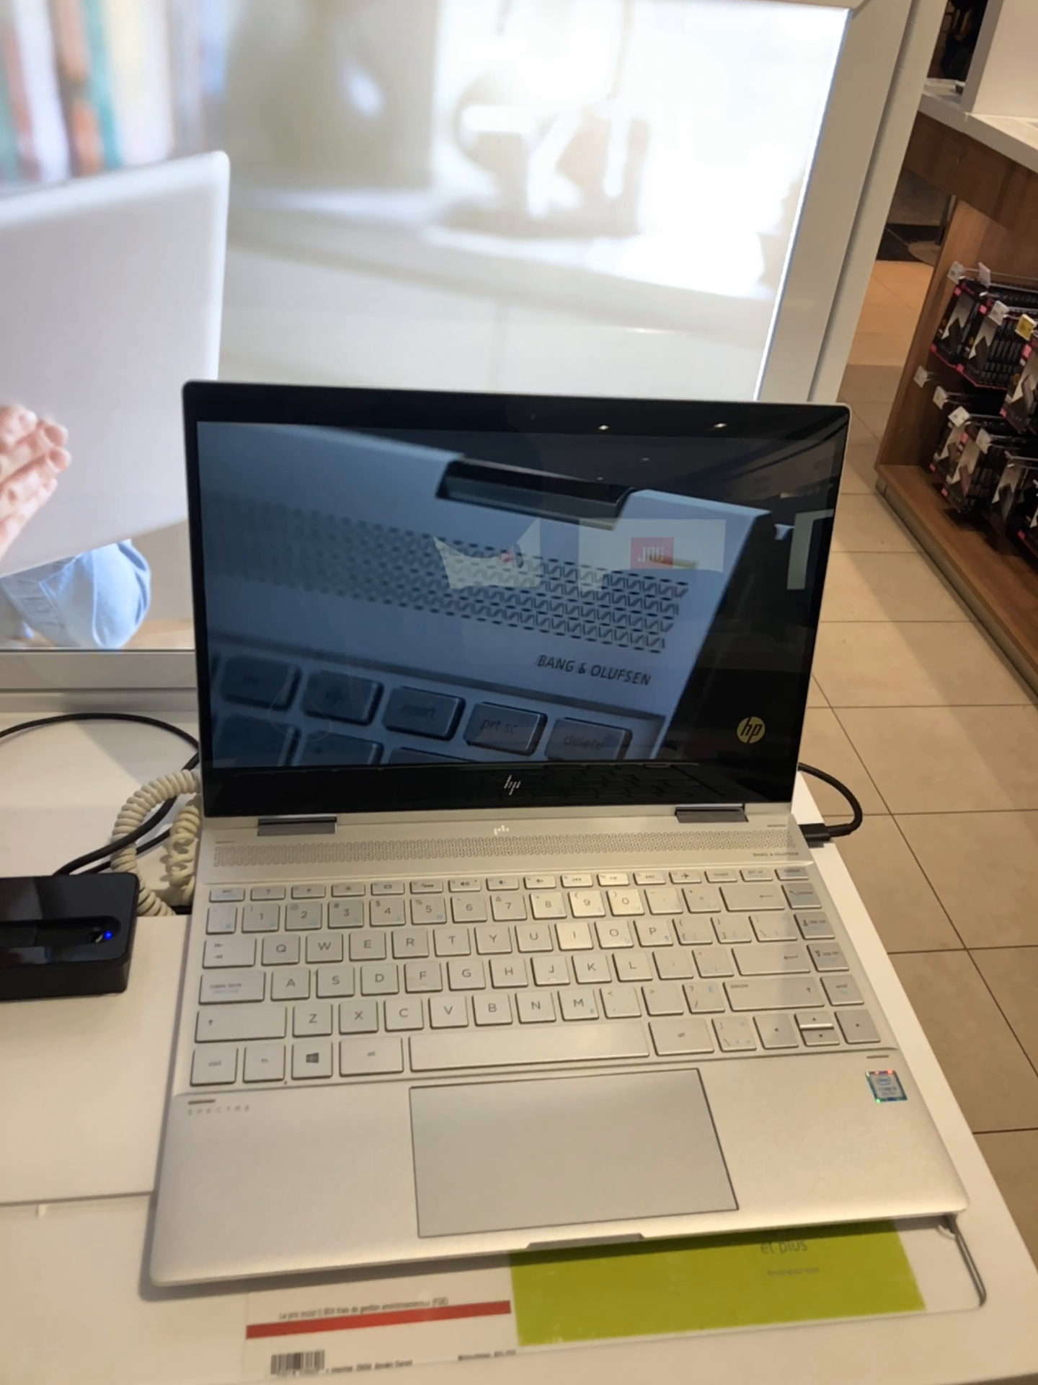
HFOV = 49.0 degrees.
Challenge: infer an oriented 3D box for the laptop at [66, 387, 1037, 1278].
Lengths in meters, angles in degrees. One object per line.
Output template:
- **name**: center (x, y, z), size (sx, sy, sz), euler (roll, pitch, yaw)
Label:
- **laptop**: center (0.015, 0.031, 0.461), size (0.299, 0.193, 0.283), euler (-1, 38, -9)
